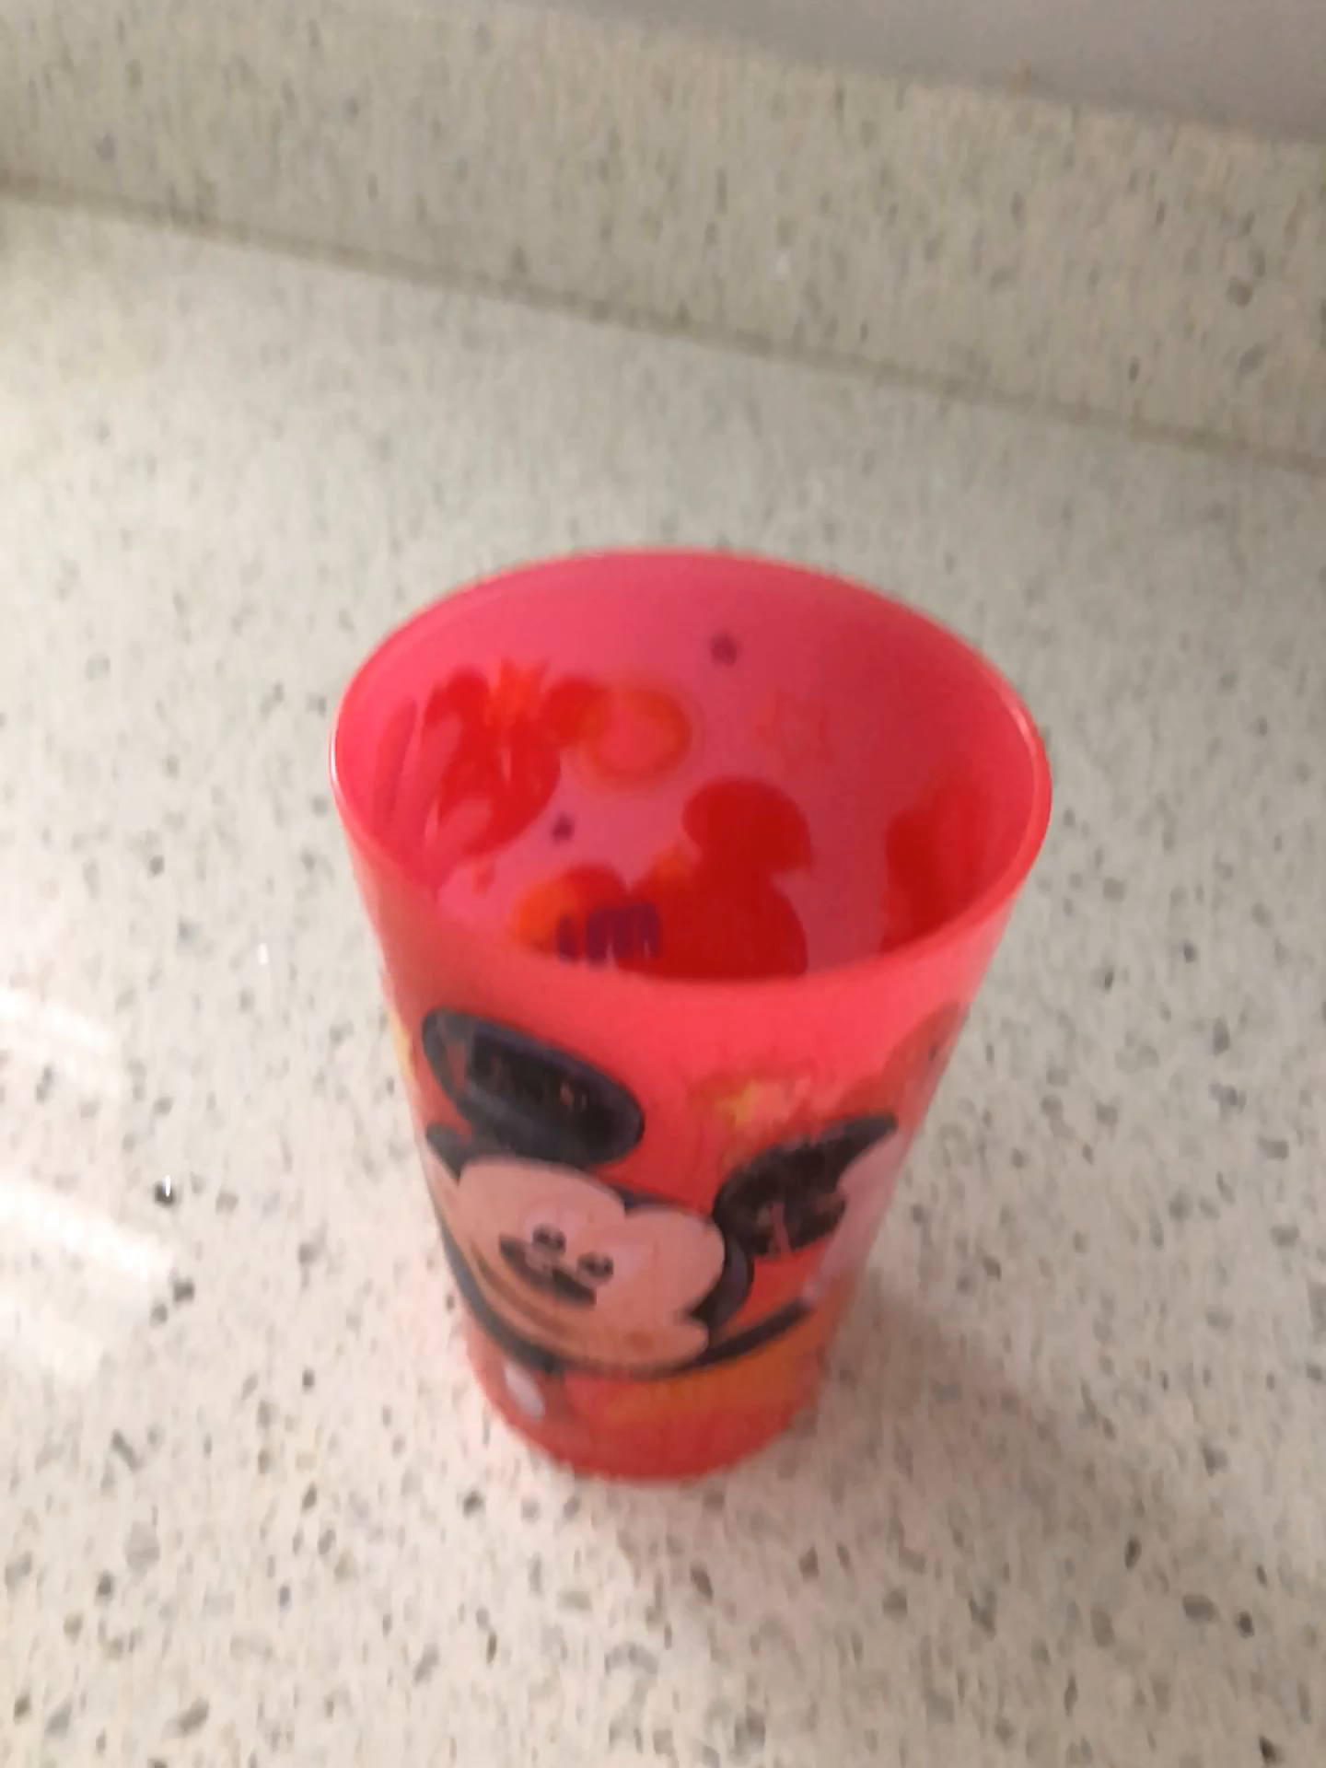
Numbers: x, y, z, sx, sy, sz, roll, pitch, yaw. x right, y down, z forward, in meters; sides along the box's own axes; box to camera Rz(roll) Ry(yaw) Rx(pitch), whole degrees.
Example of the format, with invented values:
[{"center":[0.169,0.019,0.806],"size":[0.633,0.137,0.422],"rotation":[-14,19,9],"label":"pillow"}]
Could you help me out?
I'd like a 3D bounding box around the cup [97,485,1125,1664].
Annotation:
[{"center":[-0.002,0.021,0.173],"size":[0.073,0.096,0.071],"rotation":[2,42,-1],"label":"cup"}]
